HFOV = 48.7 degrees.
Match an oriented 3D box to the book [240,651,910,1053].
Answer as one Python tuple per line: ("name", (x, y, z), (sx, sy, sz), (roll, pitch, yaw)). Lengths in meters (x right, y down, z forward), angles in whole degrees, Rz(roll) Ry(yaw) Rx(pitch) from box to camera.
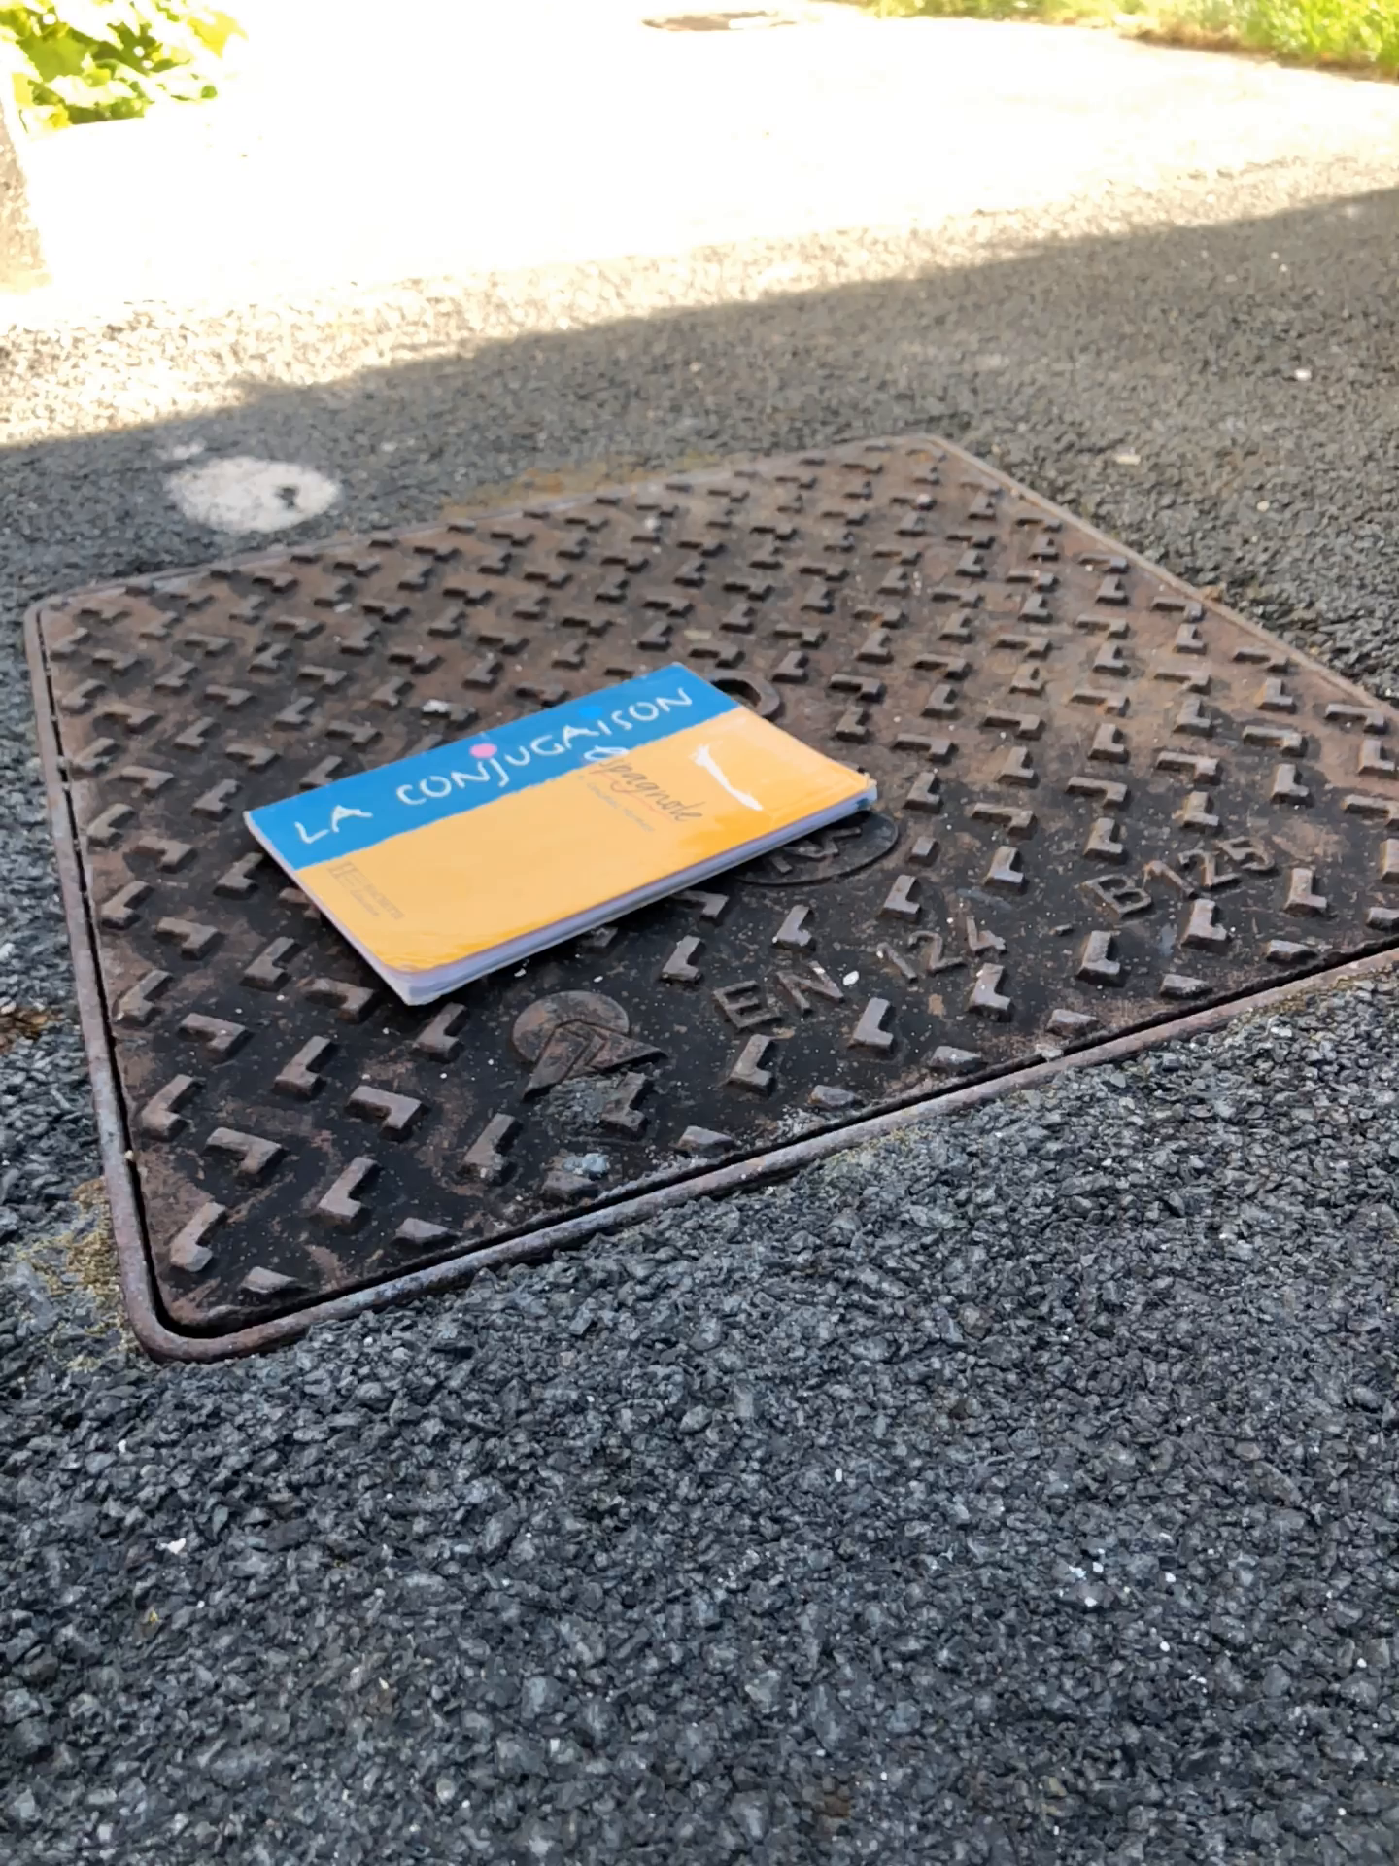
("book", (-0.044, -0.039, 0.542), (0.188, 0.017, 0.140), (-24, 42, -27))
